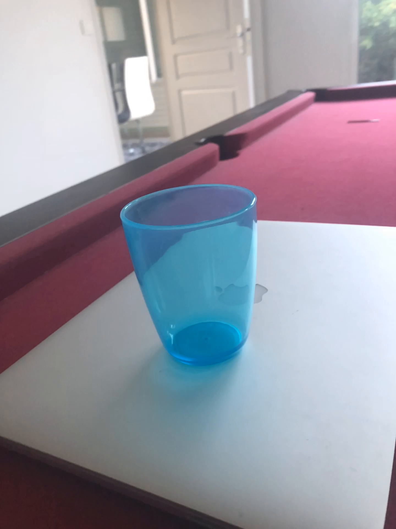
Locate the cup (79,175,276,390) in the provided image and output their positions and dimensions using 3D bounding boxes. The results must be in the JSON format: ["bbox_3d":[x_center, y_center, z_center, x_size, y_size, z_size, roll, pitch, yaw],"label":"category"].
[{"bbox_3d":[-0.005,0.003,0.284,0.080,0.099,0.091,6,27,28],"label":"cup"}]
